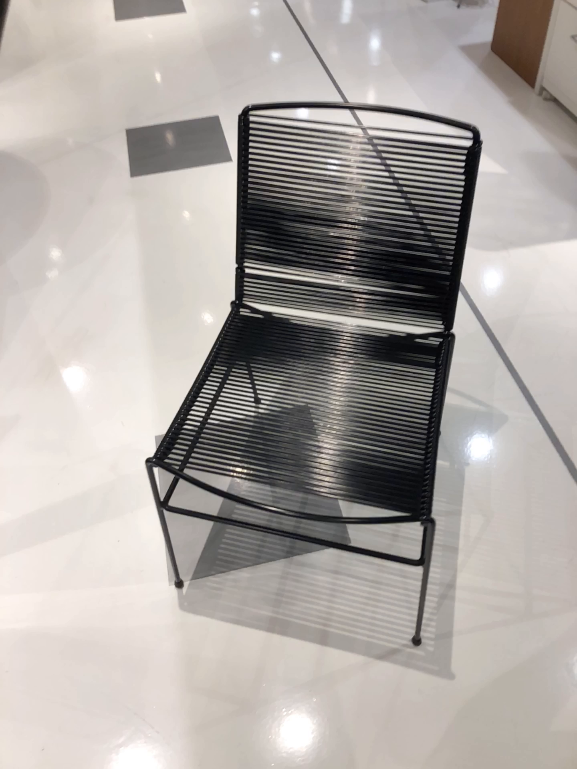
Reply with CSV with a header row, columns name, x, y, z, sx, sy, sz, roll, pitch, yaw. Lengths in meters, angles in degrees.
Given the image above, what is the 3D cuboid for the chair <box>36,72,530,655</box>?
name,x,y,z,sx,sy,sz,roll,pitch,yaw
chair,0.063,-0.010,1.130,0.520,0.794,0.584,9,50,12
